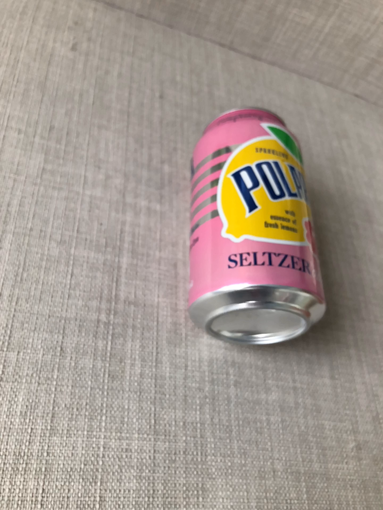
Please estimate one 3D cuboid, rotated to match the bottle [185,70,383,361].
[{"bbox_3d":[0.042,-0.017,0.224,0.070,0.065,0.123,11,59,-21],"label":"bottle"}]
